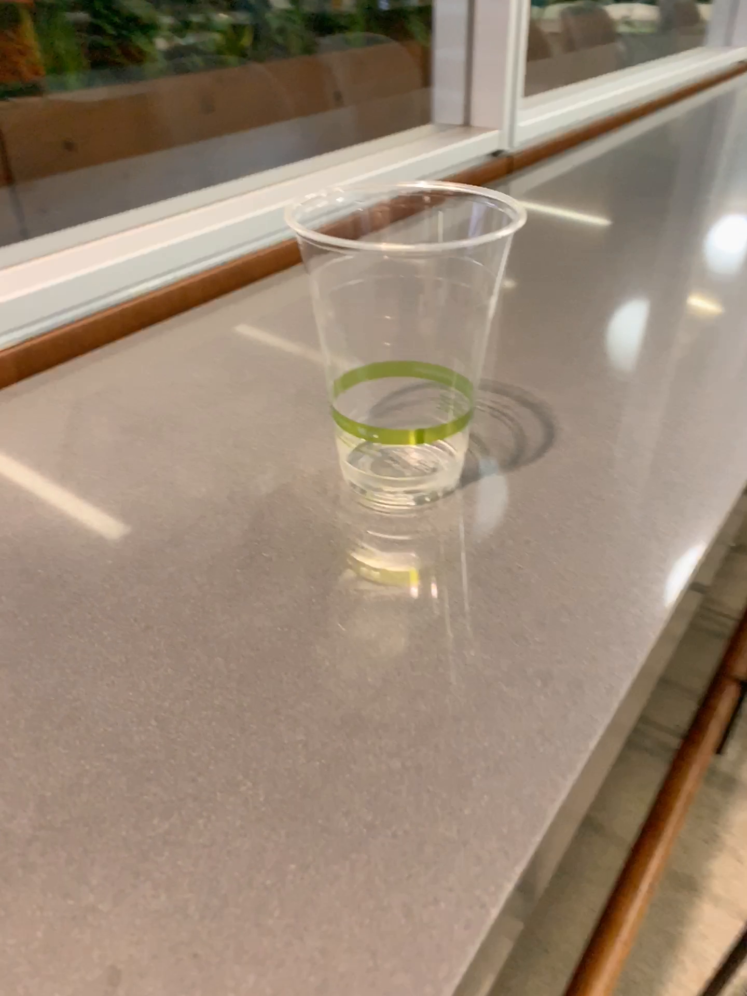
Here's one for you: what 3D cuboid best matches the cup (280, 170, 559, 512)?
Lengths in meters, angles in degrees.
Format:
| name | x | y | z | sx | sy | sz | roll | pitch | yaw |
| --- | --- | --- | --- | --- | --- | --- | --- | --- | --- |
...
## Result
| name | x | y | z | sx | sy | sz | roll | pitch | yaw |
| --- | --- | --- | --- | --- | --- | --- | --- | --- | --- |
| cup | 0.018 | -0.075 | 0.355 | 0.100 | 0.119 | 0.111 | -1 | 35 | 1 |
